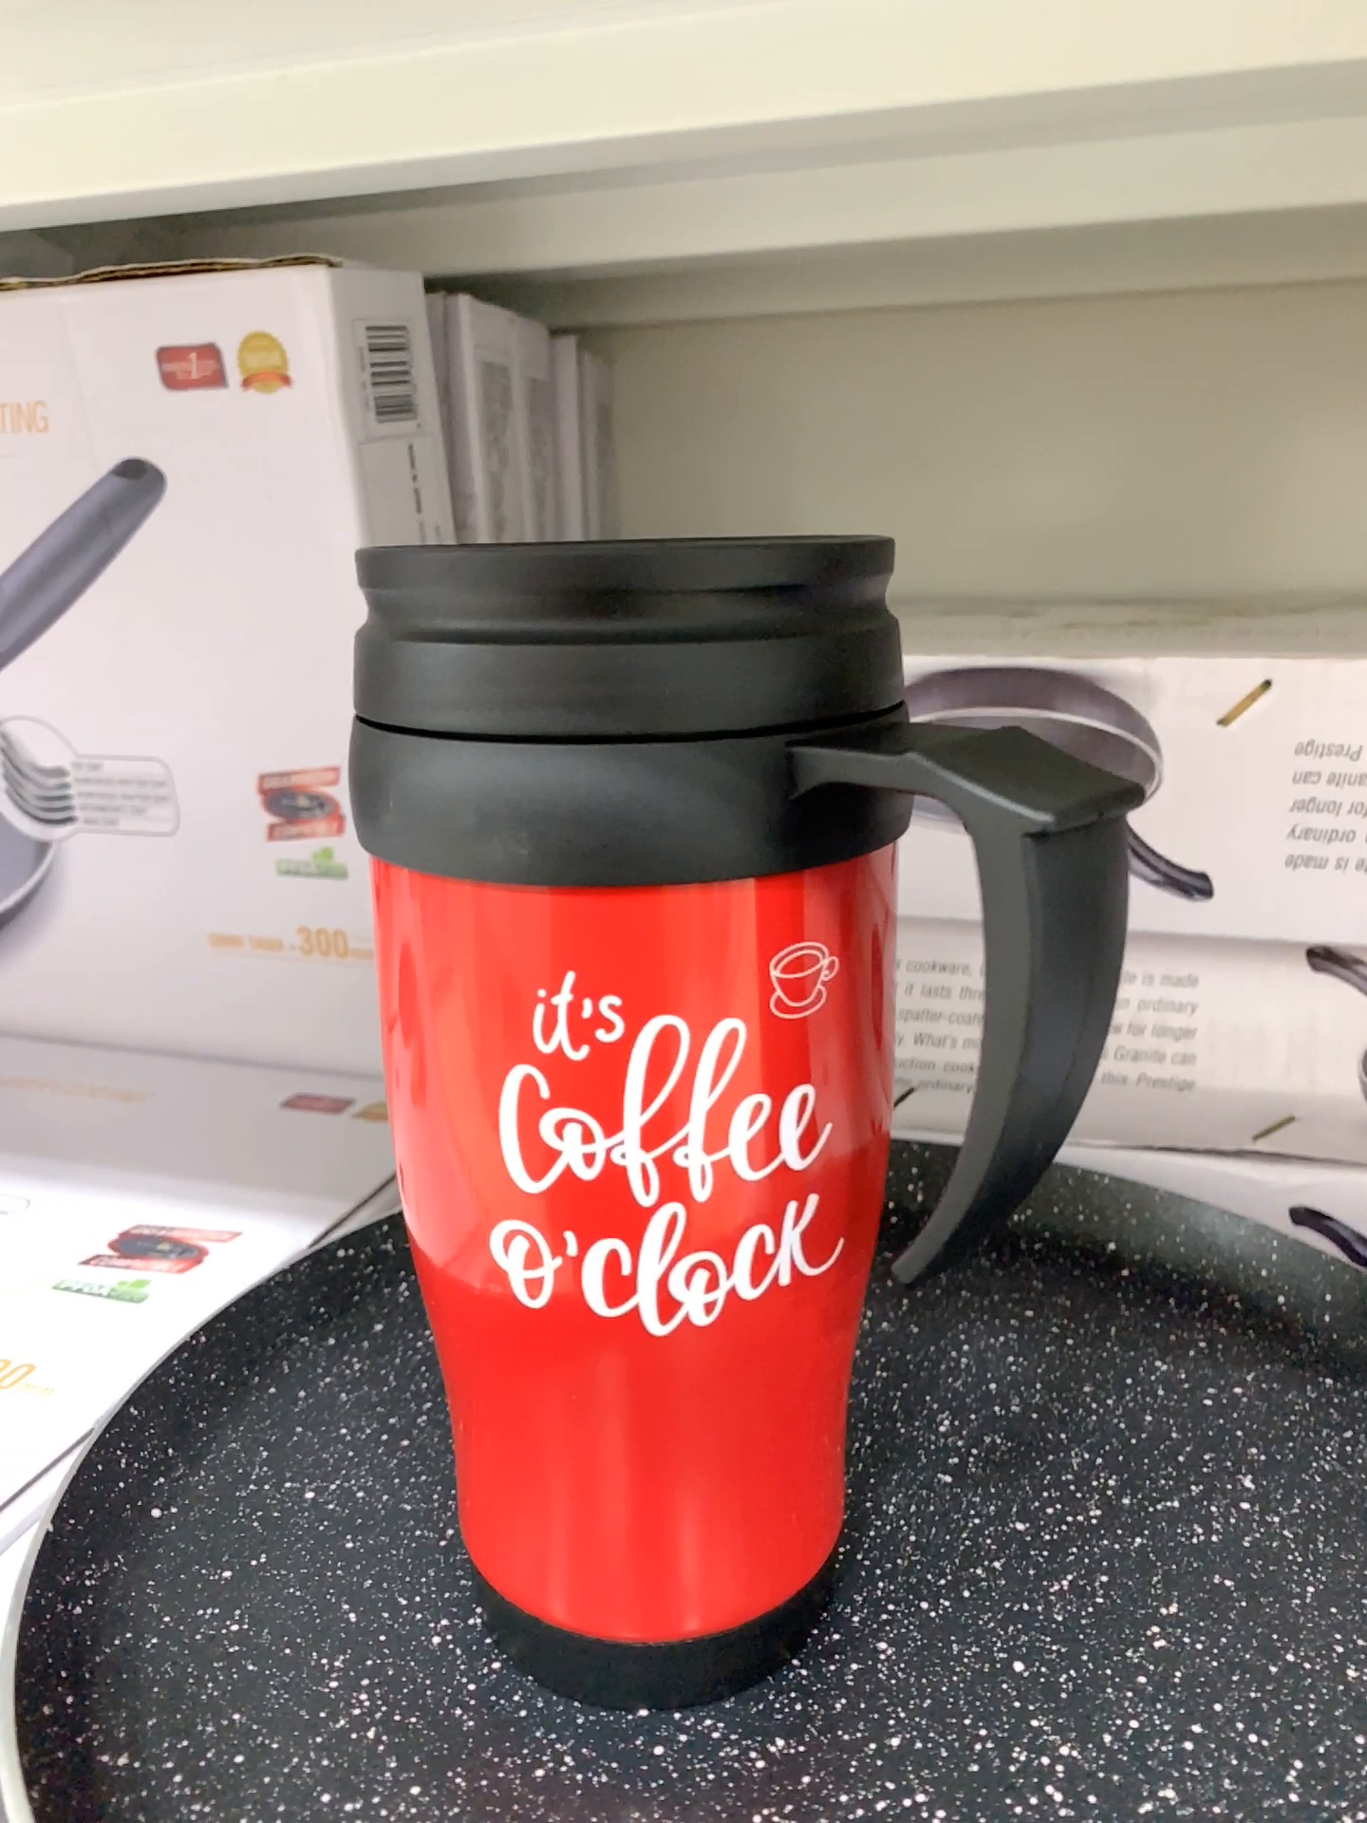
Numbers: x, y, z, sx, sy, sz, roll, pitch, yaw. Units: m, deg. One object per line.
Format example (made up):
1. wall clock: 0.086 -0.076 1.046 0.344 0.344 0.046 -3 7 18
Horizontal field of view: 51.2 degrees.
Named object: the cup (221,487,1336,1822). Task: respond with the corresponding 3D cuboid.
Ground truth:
1. cup: 0.013 0.028 0.211 0.120 0.169 0.090 10 17 38
